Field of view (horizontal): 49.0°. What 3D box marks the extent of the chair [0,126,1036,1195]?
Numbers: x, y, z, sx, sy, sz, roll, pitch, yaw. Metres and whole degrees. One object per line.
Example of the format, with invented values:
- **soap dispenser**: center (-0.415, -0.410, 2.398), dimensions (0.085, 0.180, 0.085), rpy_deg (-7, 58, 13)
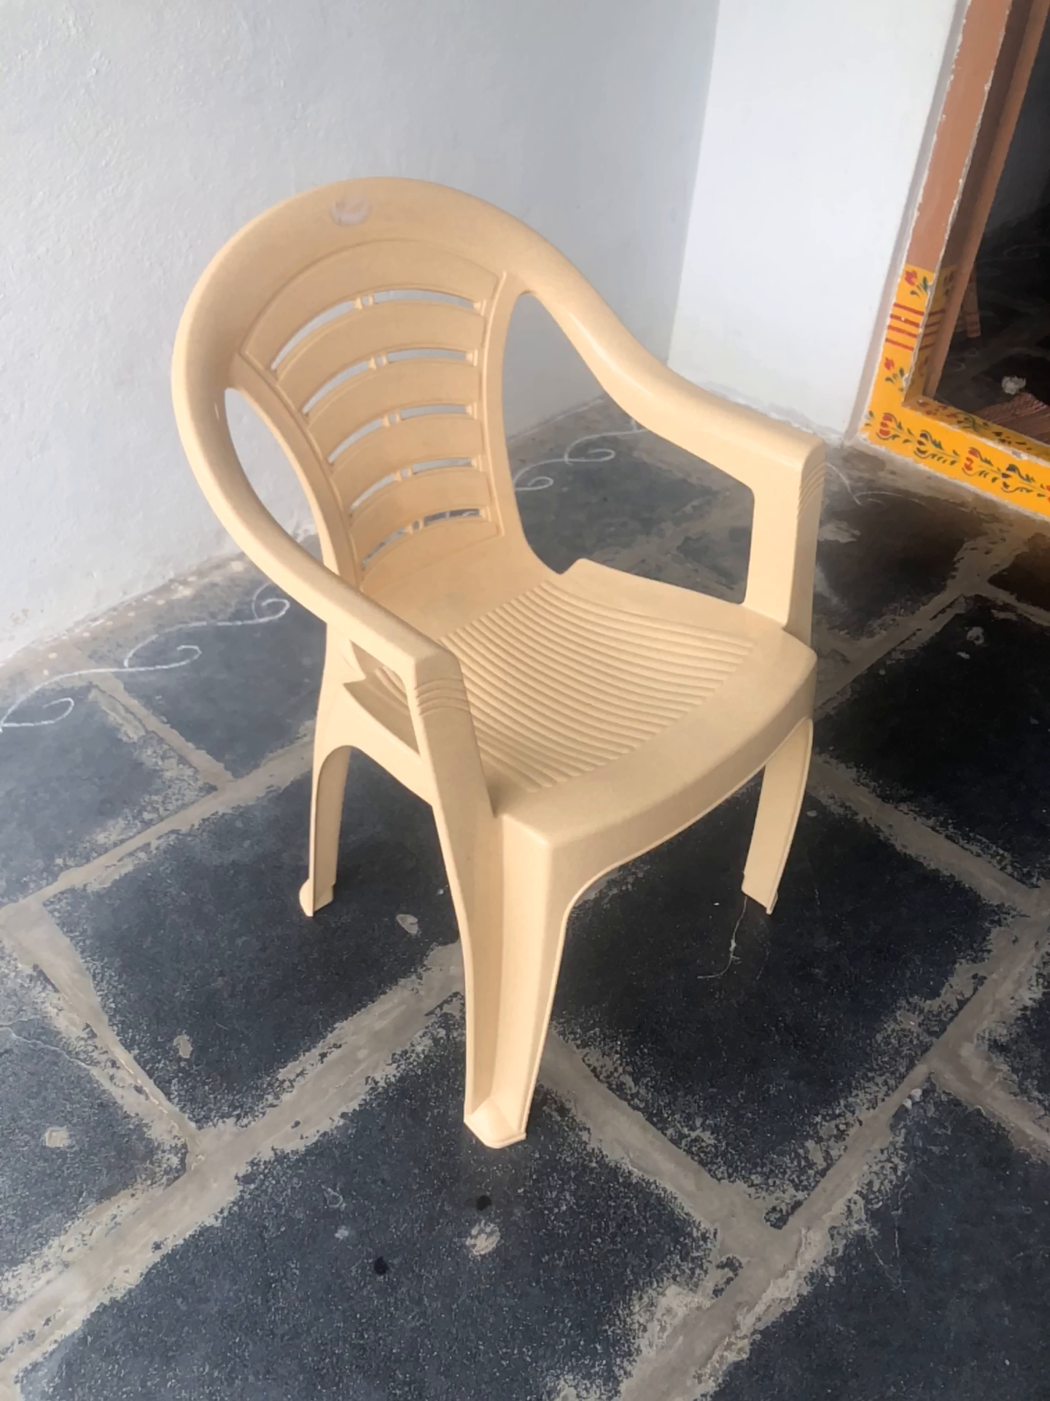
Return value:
- **chair**: center (-0.009, -0.096, 1.221), dimensions (0.650, 0.736, 0.623), rpy_deg (29, 45, 28)
